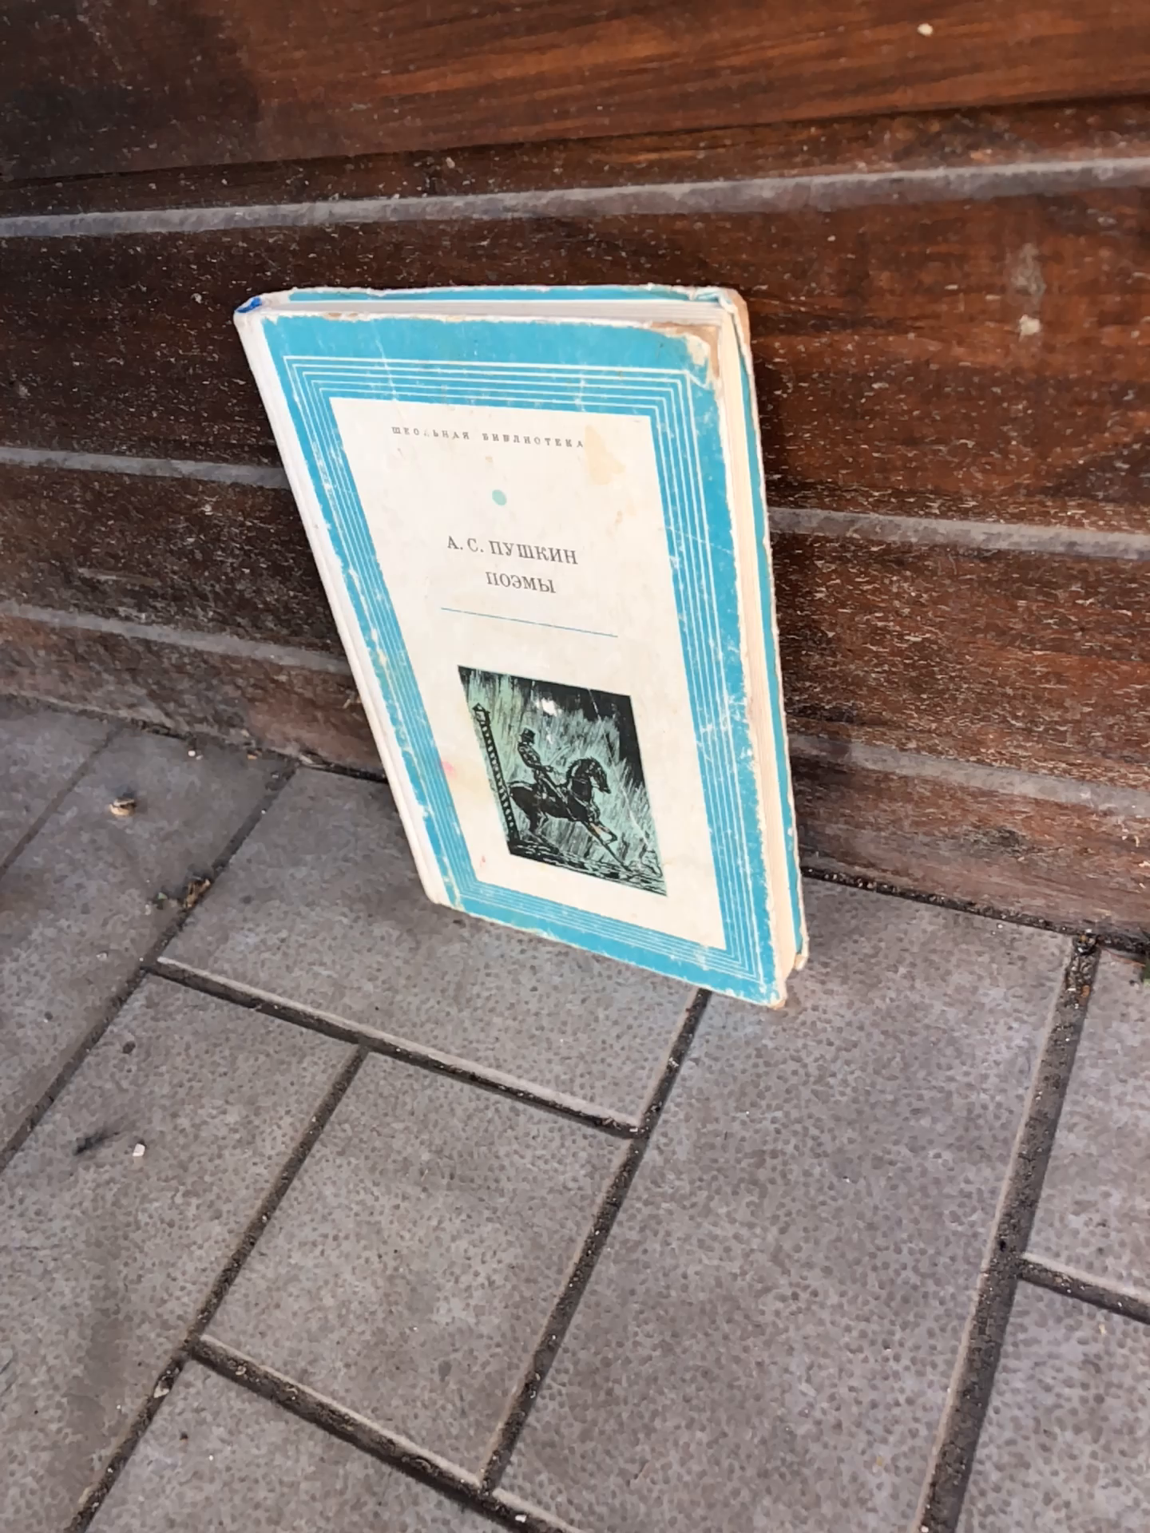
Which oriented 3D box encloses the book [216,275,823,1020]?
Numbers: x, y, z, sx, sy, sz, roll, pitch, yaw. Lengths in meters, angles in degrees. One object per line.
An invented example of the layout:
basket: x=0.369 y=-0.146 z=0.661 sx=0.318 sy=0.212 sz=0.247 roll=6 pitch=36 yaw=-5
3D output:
book: x=-0.007 y=-0.027 z=0.333 sx=0.130 sy=0.189 sz=0.030 roll=12 pitch=42 yaw=29
